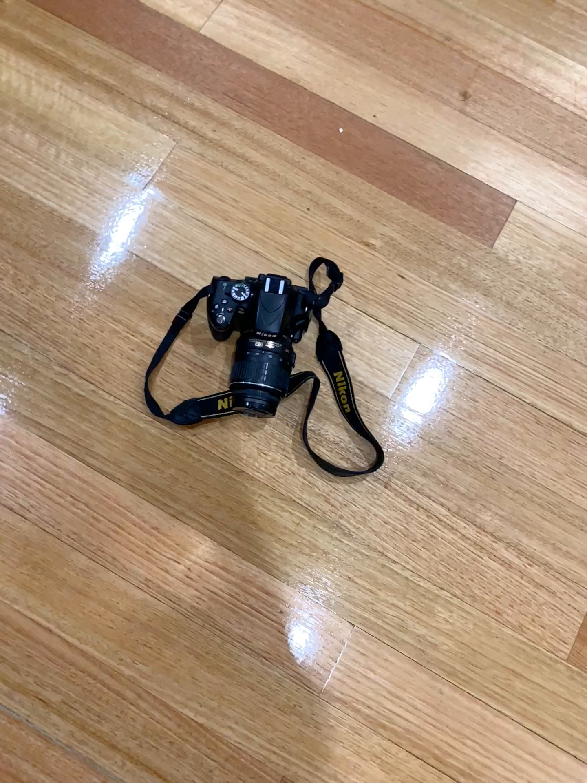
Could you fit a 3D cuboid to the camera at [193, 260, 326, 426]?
[{"bbox_3d":[-0.039,-0.054,0.718,0.130,0.100,0.160,6,76,-2],"label":"camera"}]
